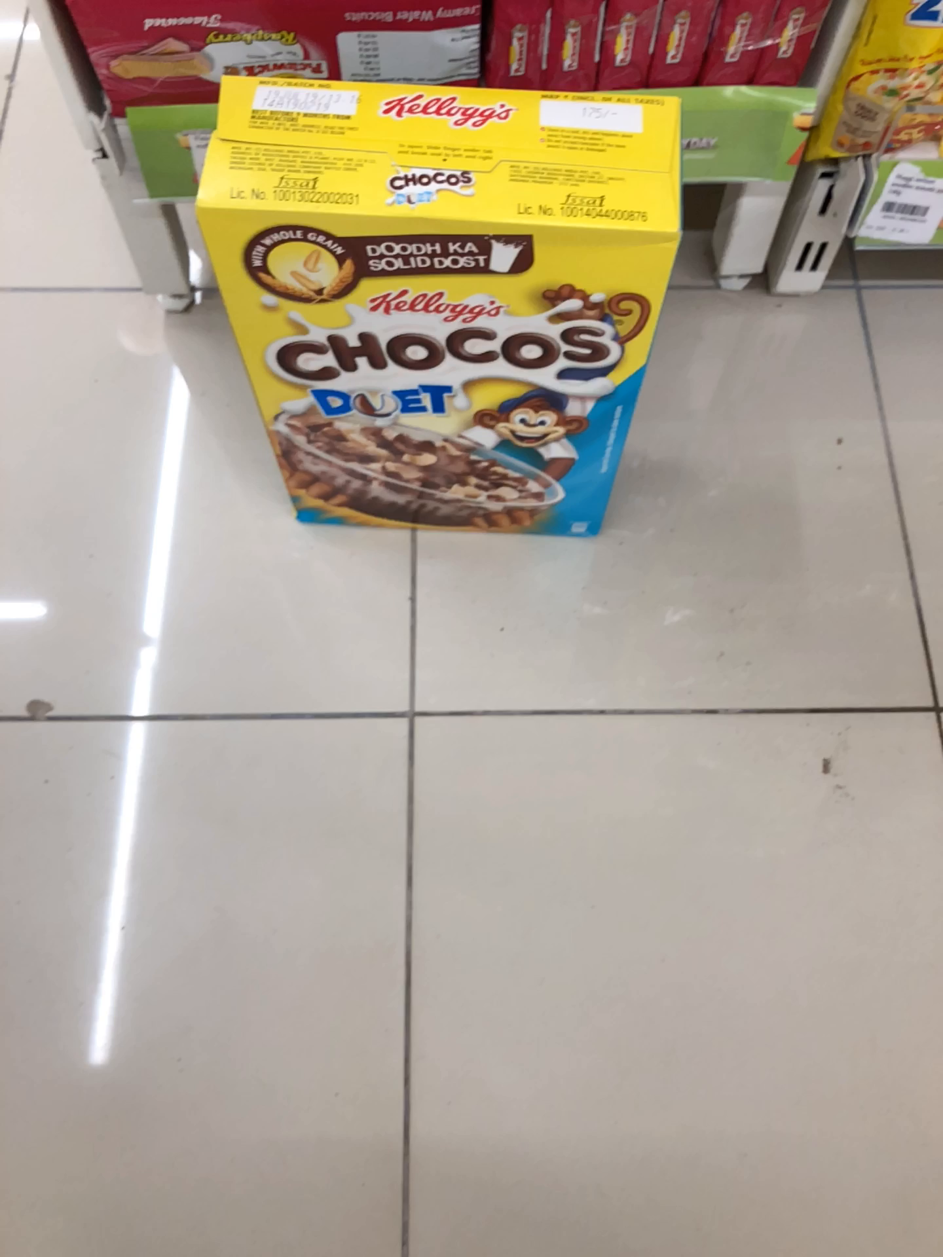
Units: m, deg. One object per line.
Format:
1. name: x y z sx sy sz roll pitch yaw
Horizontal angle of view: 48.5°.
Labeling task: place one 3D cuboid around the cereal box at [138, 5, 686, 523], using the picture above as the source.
1. cereal box: -0.020 -0.147 0.495 0.190 0.259 0.070 3 68 1
